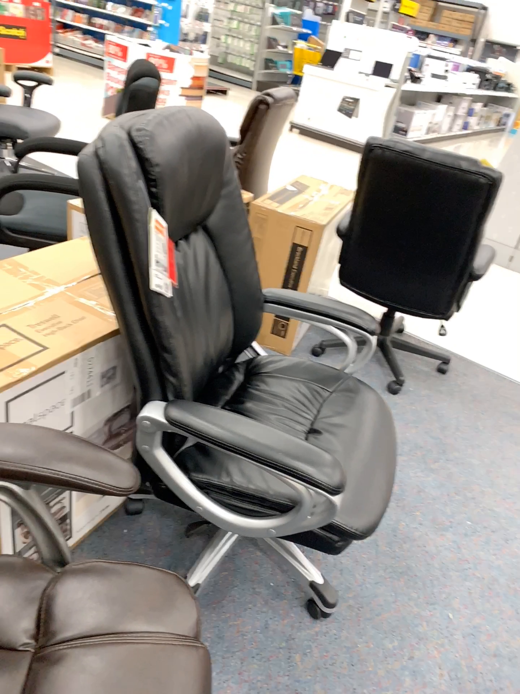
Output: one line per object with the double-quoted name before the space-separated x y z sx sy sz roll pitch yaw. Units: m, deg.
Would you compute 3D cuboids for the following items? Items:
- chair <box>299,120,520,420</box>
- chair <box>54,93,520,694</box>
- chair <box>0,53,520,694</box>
"chair" 0.696 -0.387 2.320 0.664 0.926 0.841 19 31 11
"chair" 0.030 0.084 1.214 0.657 1.056 0.677 18 31 9
"chair" -0.426 0.397 0.520 0.787 1.046 0.758 12 31 -1
